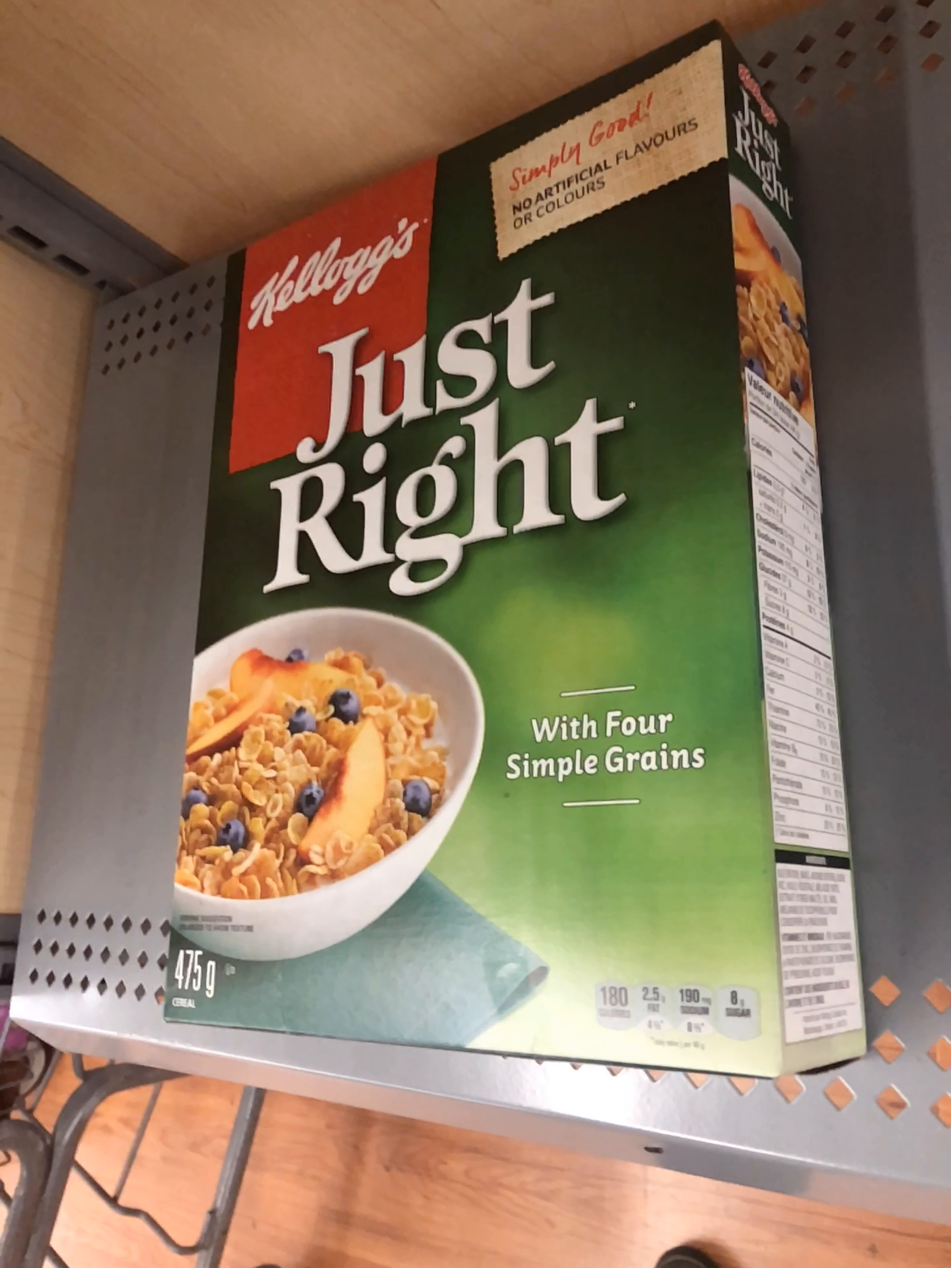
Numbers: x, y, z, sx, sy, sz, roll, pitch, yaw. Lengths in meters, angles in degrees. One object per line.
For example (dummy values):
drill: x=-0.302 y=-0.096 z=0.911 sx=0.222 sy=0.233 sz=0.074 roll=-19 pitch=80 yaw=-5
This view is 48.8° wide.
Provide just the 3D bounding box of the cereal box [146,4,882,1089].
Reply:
cereal box: x=0.001 y=-0.019 z=0.324 sx=0.201 sy=0.060 sz=0.270 roll=-10 pitch=71 yaw=33
